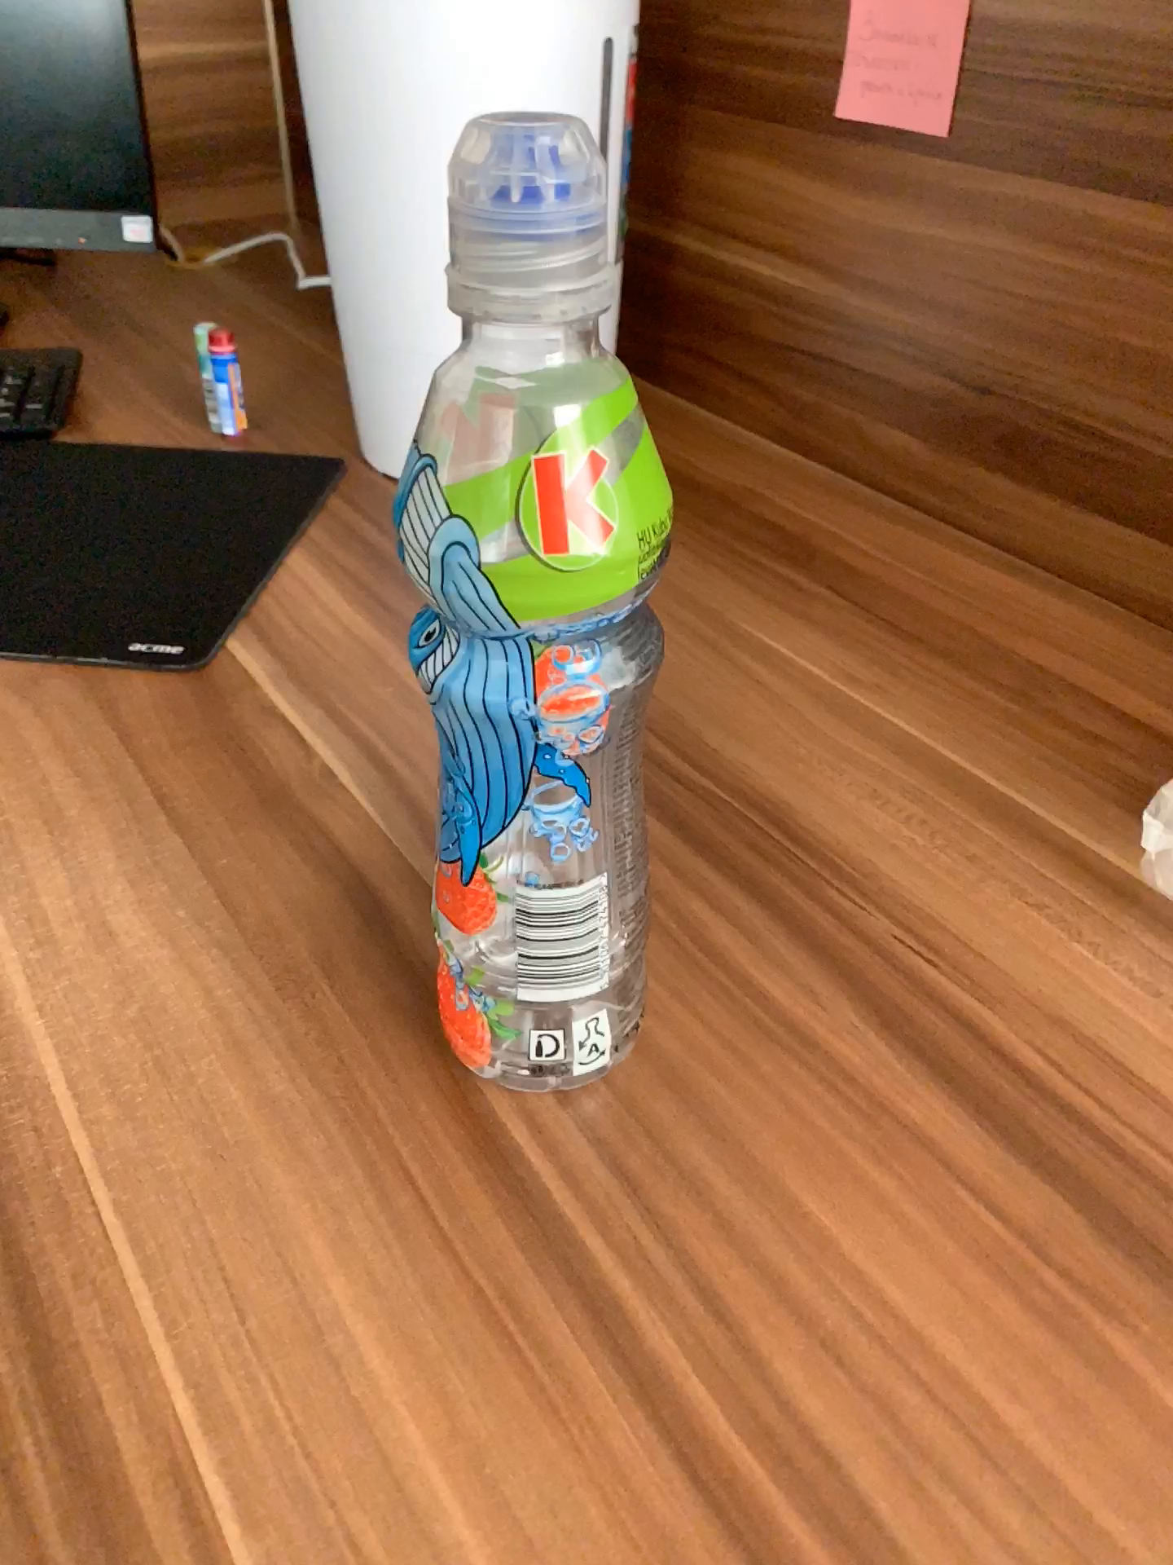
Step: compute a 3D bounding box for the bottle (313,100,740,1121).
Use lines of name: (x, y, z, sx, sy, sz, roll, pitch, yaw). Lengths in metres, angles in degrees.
bottle: (-0.015, -0.026, 0.296, 0.070, 0.239, 0.070, 1, 36, 0)
